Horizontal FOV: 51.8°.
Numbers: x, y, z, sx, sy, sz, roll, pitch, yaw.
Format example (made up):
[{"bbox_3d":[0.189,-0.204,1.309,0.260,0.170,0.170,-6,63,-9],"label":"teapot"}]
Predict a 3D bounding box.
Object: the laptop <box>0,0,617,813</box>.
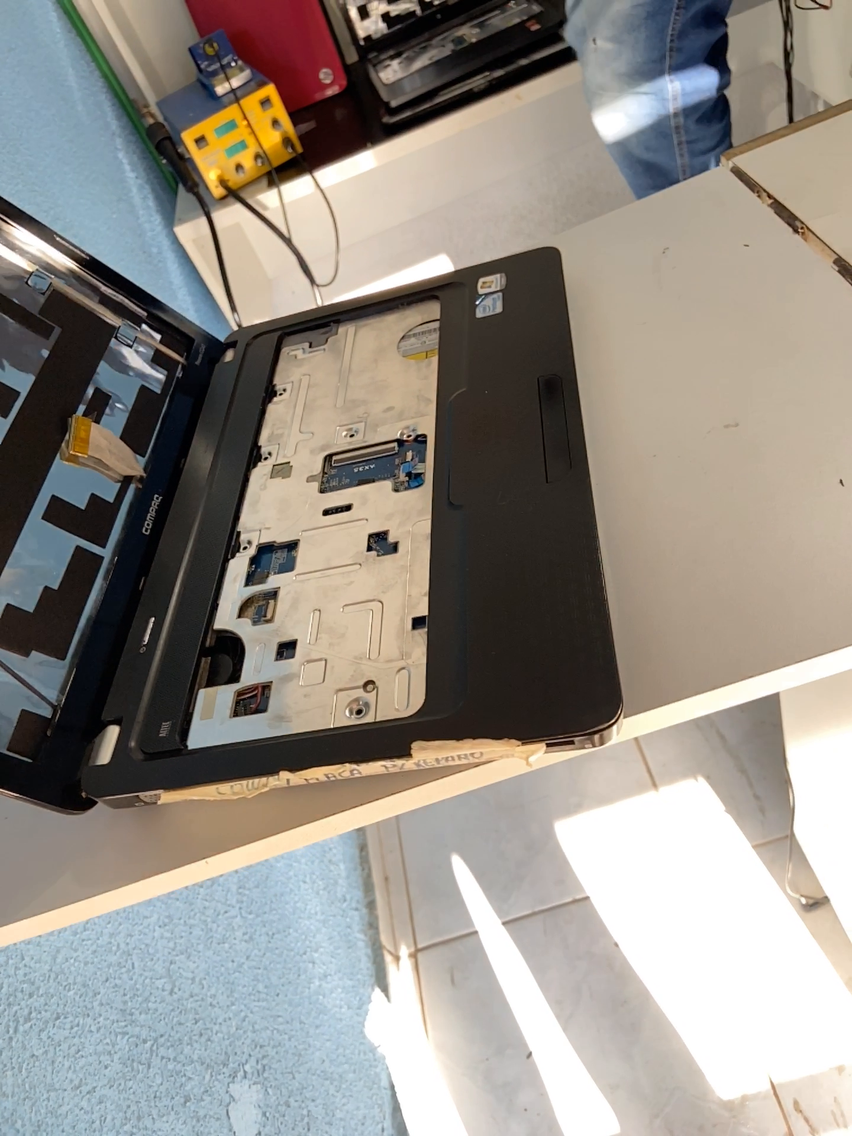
[{"bbox_3d":[-0.115,-0.097,0.413,0.335,0.182,0.333,-11,47,16],"label":"laptop"}]
